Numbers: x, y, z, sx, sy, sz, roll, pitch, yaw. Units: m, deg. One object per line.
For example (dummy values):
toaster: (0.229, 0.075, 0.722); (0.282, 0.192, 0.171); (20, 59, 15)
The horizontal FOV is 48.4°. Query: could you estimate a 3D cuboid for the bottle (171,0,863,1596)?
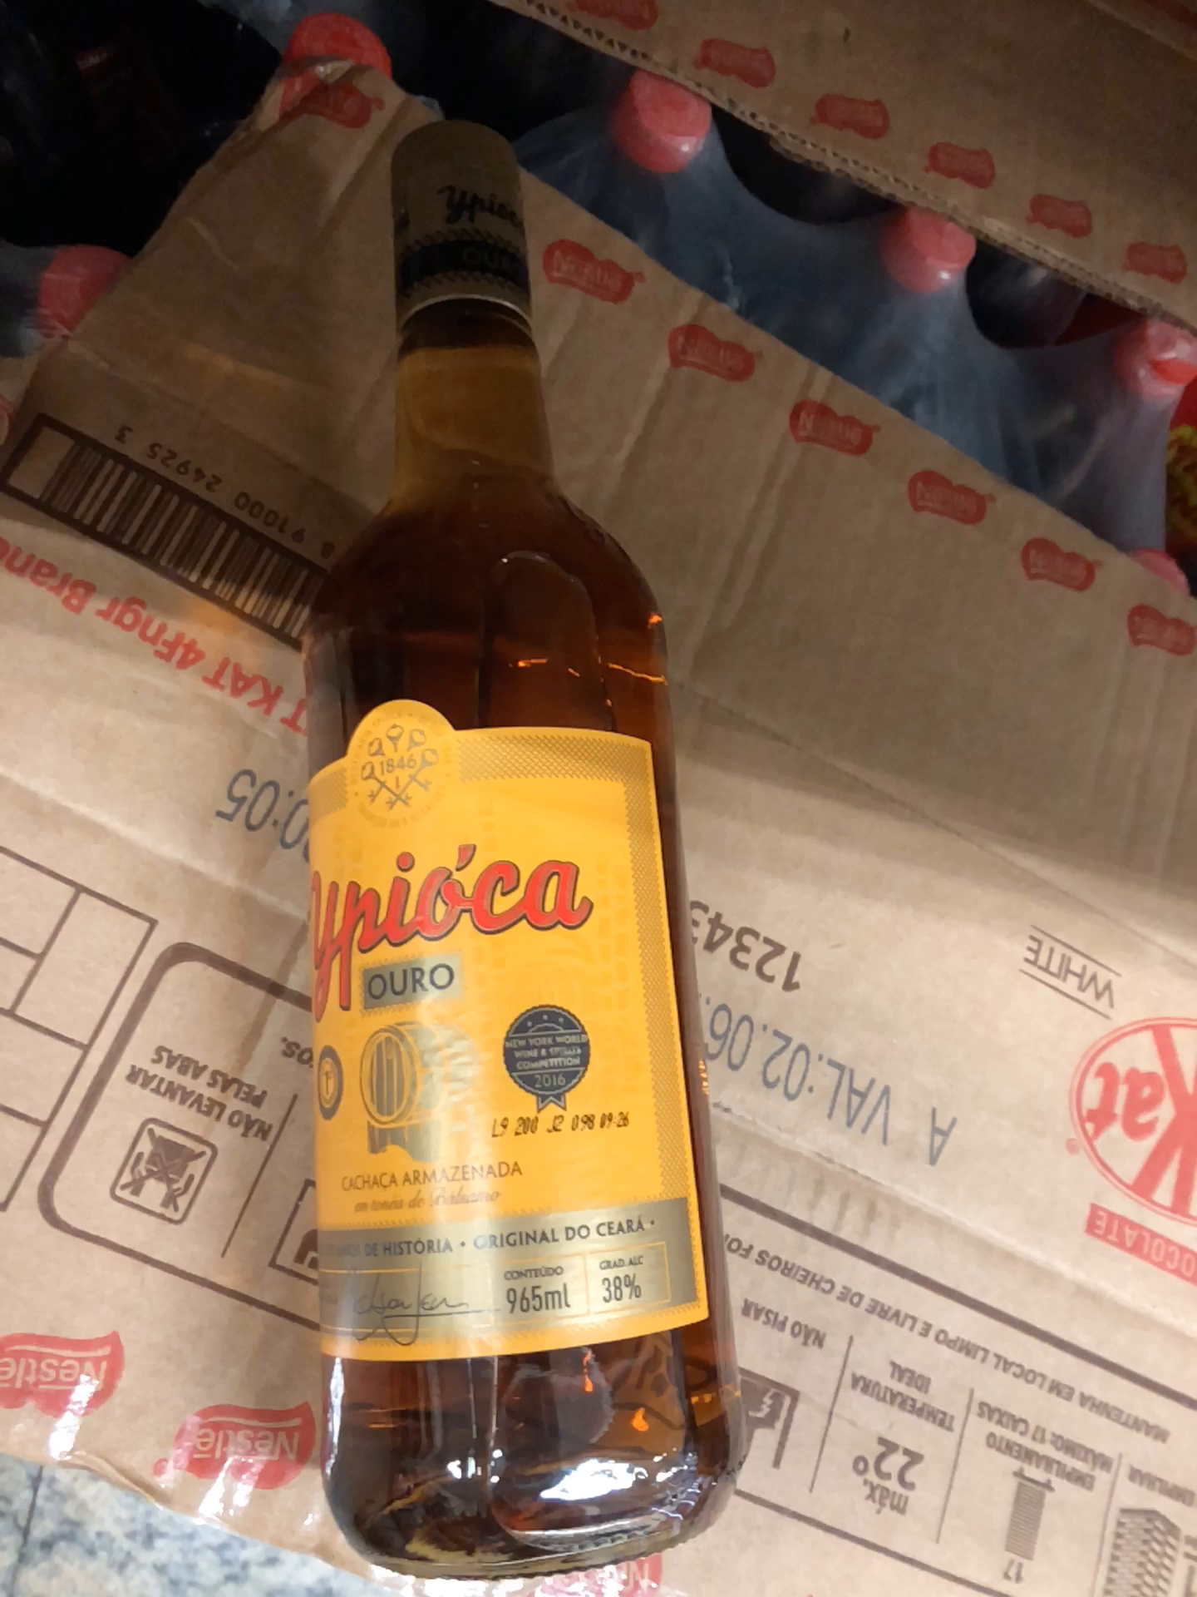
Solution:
bottle: (-0.021, -0.026, 0.272); (0.090, 0.080, 0.310); (17, 64, -59)
